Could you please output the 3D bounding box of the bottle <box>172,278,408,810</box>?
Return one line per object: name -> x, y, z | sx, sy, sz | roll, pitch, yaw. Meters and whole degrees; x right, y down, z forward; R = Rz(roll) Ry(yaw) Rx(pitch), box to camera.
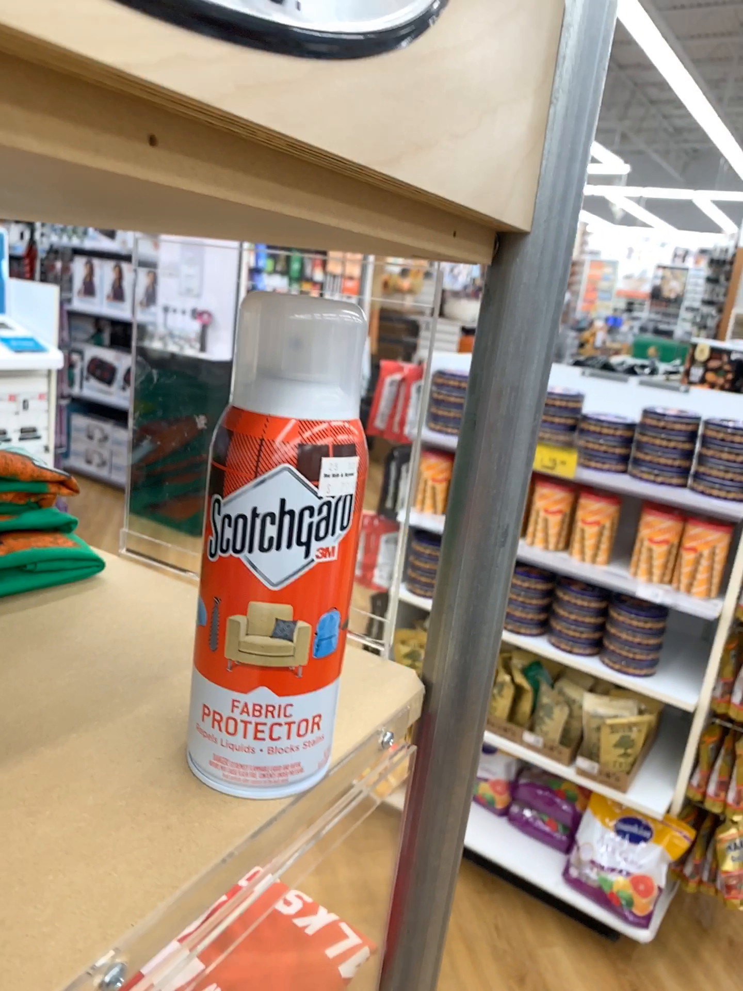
bottle -> -0.036, 0.019, 0.324 | 0.069, 0.206, 0.067 | 7, 14, -2
